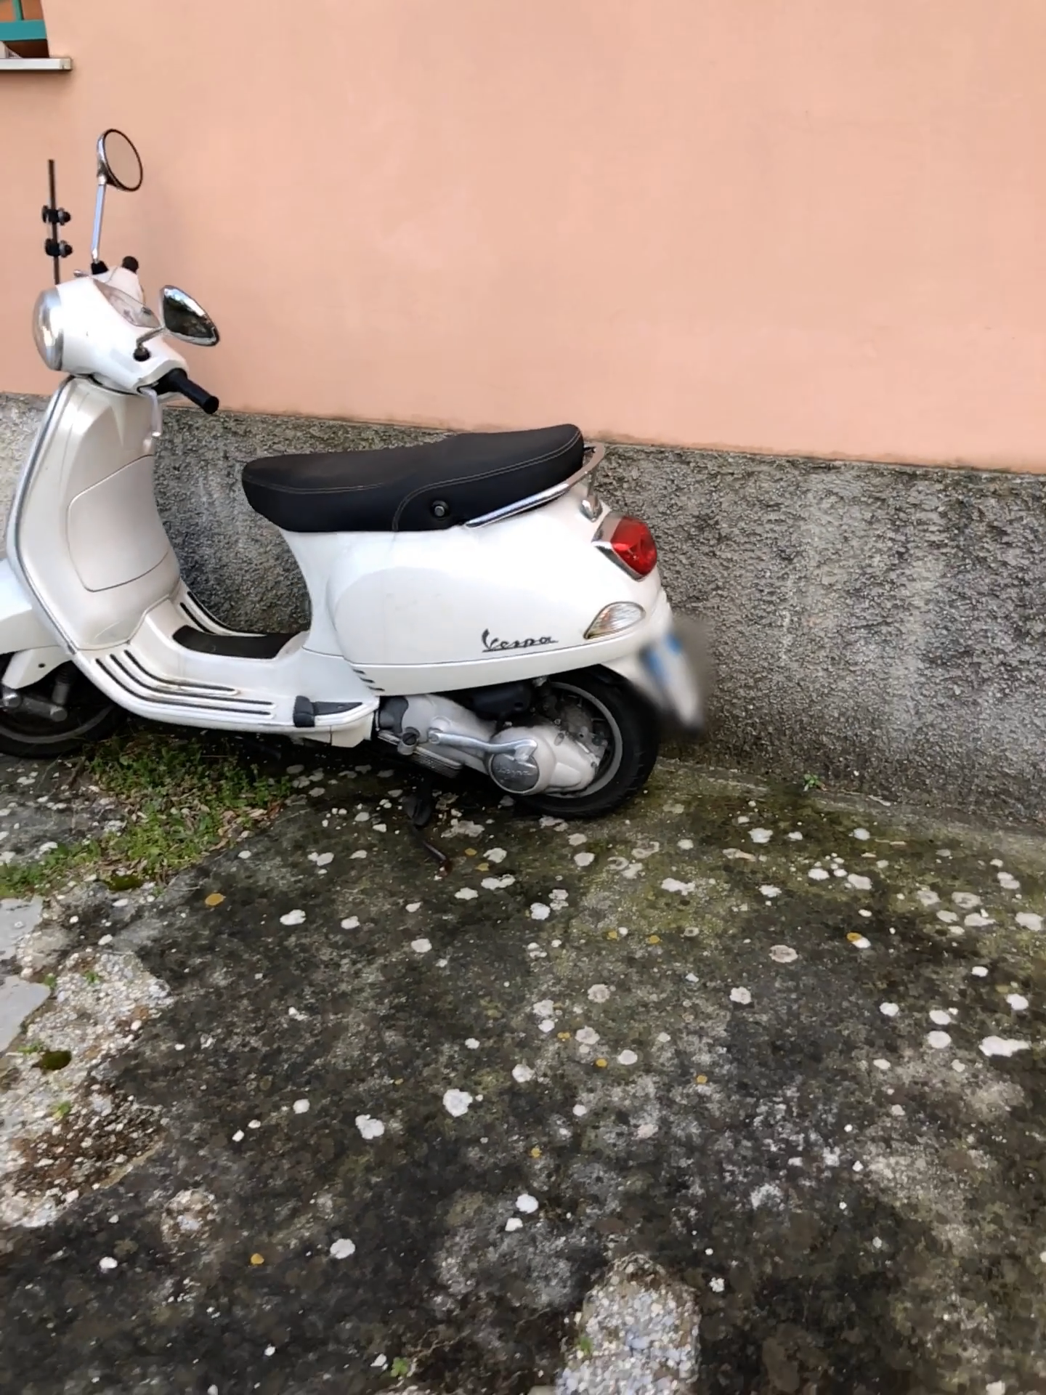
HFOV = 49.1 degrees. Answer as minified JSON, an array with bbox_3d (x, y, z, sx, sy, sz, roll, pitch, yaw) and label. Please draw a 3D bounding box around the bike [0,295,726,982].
[{"bbox_3d":[-0.548,-0.140,2.232,1.657,1.085,0.647,3,25,11],"label":"bike"}]
